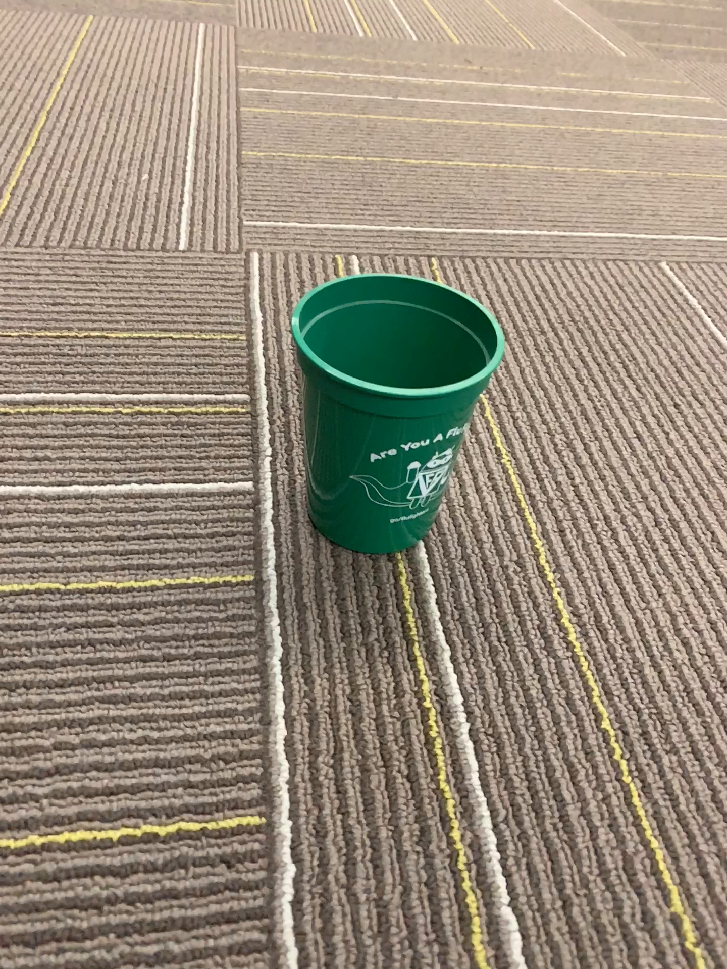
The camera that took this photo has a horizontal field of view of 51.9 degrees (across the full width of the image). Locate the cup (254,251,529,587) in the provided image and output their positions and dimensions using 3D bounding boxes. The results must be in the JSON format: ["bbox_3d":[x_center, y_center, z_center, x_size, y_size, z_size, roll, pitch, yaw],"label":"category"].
[{"bbox_3d":[0.005,-0.032,0.360,0.090,0.119,0.080,-17,49,-23],"label":"cup"}]
